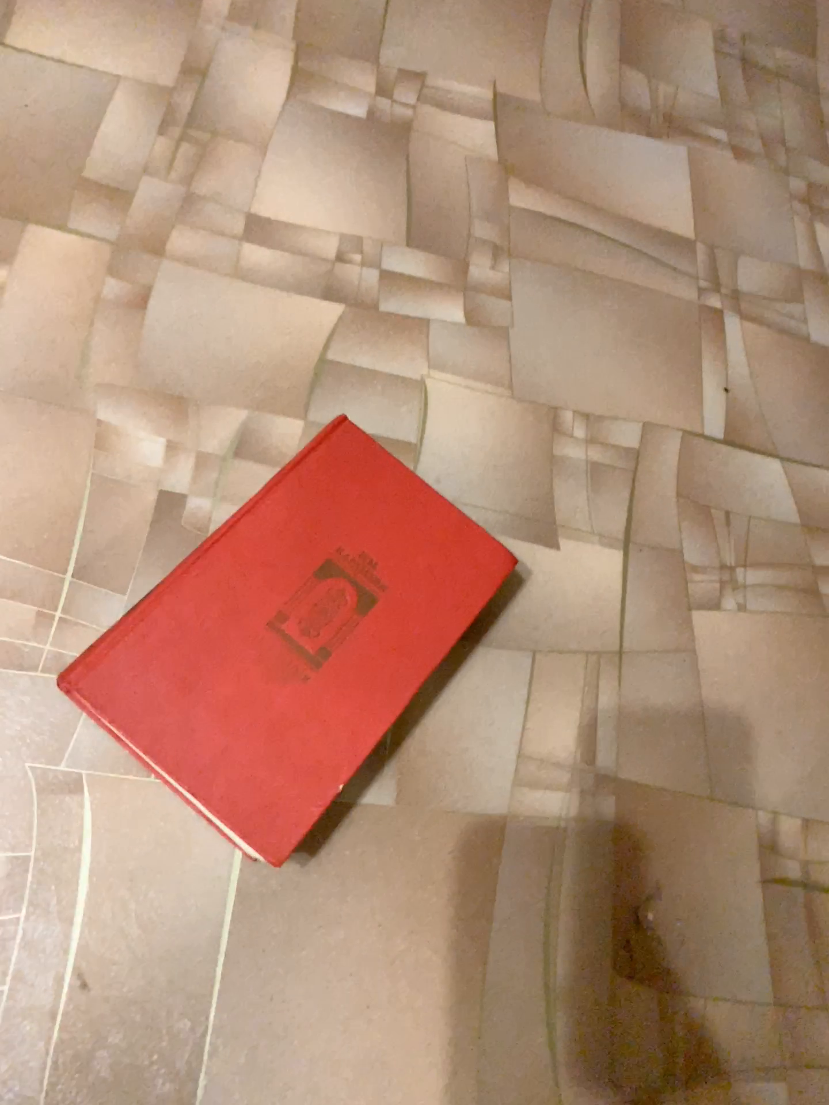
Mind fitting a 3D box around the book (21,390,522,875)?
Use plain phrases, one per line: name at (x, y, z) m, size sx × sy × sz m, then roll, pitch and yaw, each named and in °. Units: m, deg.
book at (-0.063, 0.032, 0.430) m, size 0.140 × 0.050 × 0.201 m, roll 40°, pitch 64°, yaw 7°
